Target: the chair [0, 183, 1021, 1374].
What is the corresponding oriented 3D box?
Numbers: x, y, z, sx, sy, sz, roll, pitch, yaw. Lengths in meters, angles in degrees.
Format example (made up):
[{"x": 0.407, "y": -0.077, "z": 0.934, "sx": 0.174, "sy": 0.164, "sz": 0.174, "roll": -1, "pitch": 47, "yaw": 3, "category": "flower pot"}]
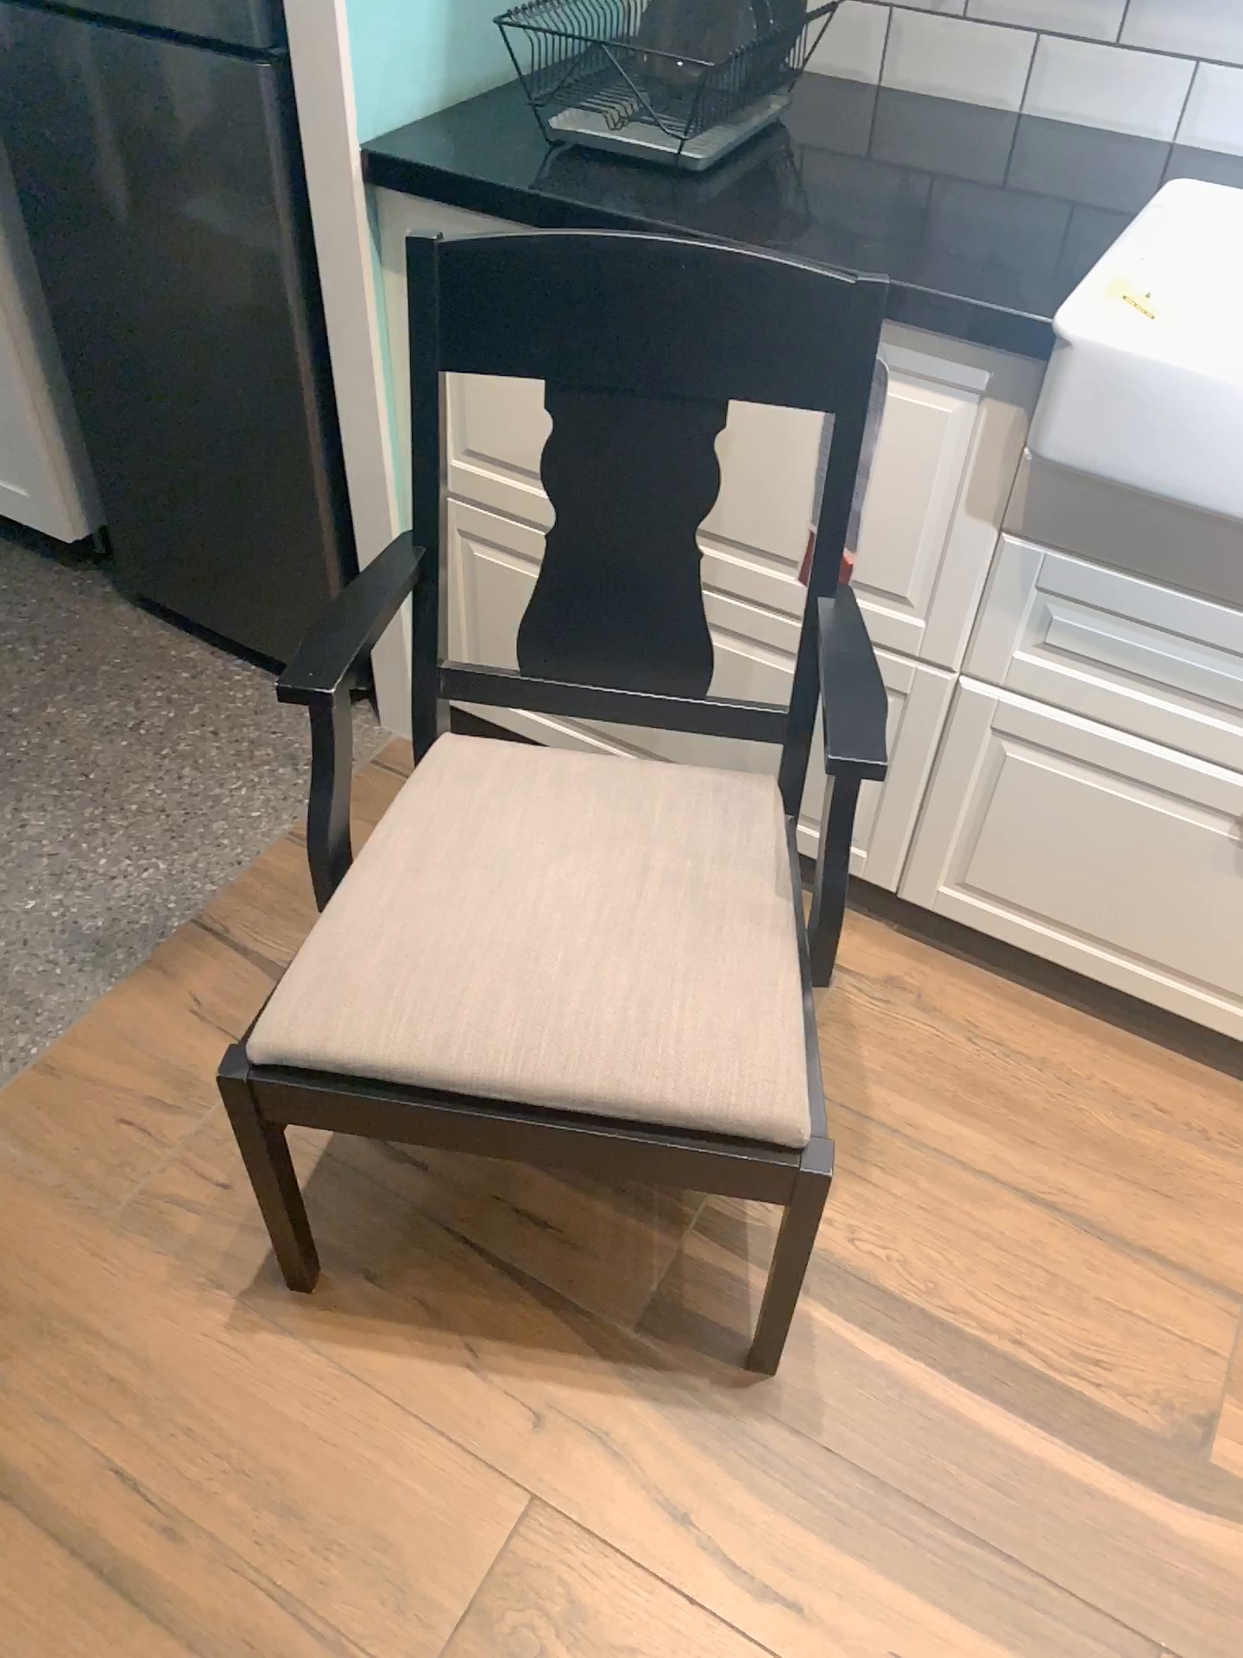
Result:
[{"x": -0.044, "y": -0.011, "z": 1.192, "sx": 0.570, "sy": 0.887, "sz": 0.592, "roll": 8, "pitch": 45, "yaw": 5, "category": "chair"}]
